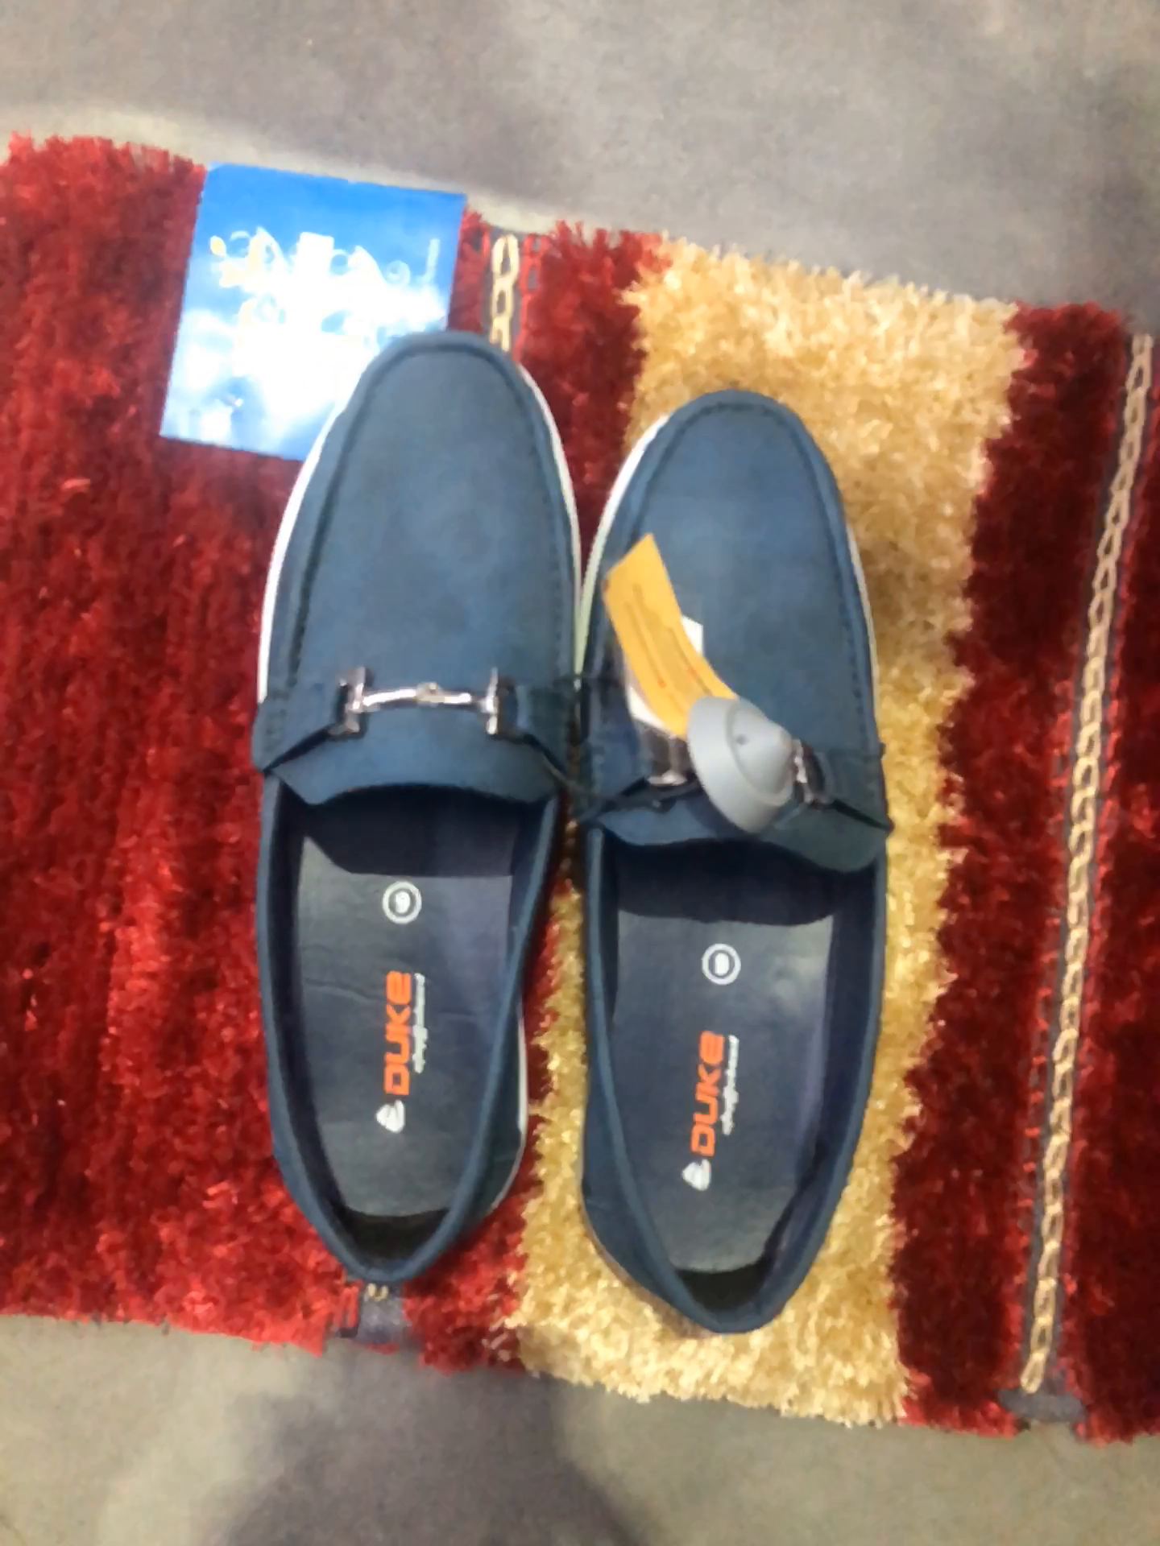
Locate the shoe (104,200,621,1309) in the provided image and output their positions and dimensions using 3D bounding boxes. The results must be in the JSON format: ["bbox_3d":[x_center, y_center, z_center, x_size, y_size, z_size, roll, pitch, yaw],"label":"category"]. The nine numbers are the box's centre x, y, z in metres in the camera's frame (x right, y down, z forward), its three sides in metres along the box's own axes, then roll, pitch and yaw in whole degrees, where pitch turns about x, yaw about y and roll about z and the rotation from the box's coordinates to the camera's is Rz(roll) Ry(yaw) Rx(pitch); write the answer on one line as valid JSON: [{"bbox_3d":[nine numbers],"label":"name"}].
[{"bbox_3d":[-0.057,-0.005,0.372,0.110,0.090,0.280,4,86,-4],"label":"shoe"}]

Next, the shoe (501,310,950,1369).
[{"bbox_3d":[0.039,0.018,0.389,0.100,0.090,0.280,5,86,-4],"label":"shoe"}]
